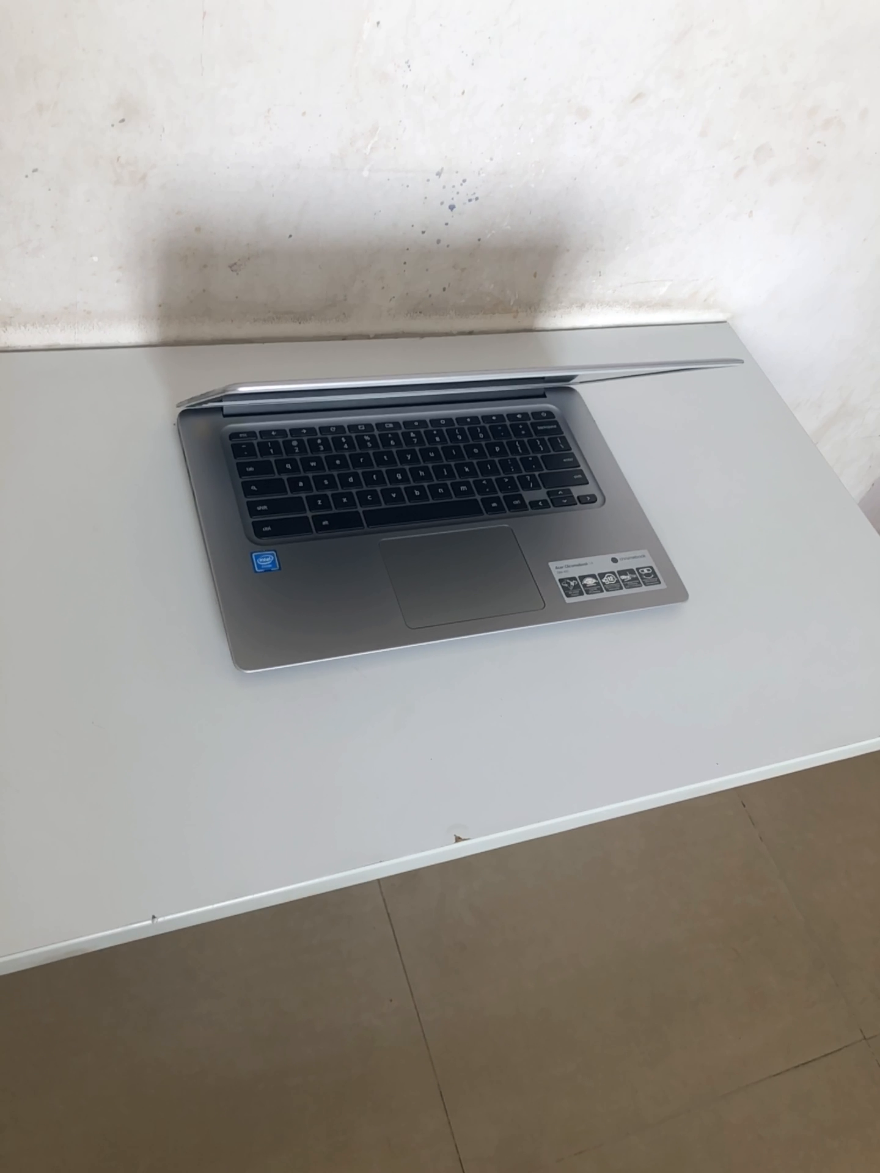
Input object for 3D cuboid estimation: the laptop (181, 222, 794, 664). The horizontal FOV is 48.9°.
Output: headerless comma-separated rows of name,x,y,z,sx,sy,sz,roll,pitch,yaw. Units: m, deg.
laptop,0.013,-0.107,0.644,0.326,0.155,0.222,-8,56,-21
